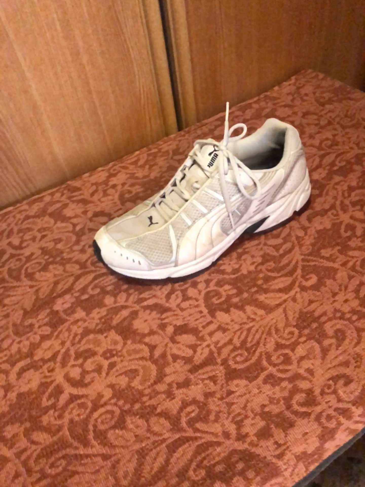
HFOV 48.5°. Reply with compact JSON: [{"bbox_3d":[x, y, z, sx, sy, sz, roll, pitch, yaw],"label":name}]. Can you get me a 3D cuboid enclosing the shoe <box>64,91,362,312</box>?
[{"bbox_3d":[0.036,-0.058,0.458,0.290,0.100,0.120,-24,47,-13],"label":"shoe"}]
